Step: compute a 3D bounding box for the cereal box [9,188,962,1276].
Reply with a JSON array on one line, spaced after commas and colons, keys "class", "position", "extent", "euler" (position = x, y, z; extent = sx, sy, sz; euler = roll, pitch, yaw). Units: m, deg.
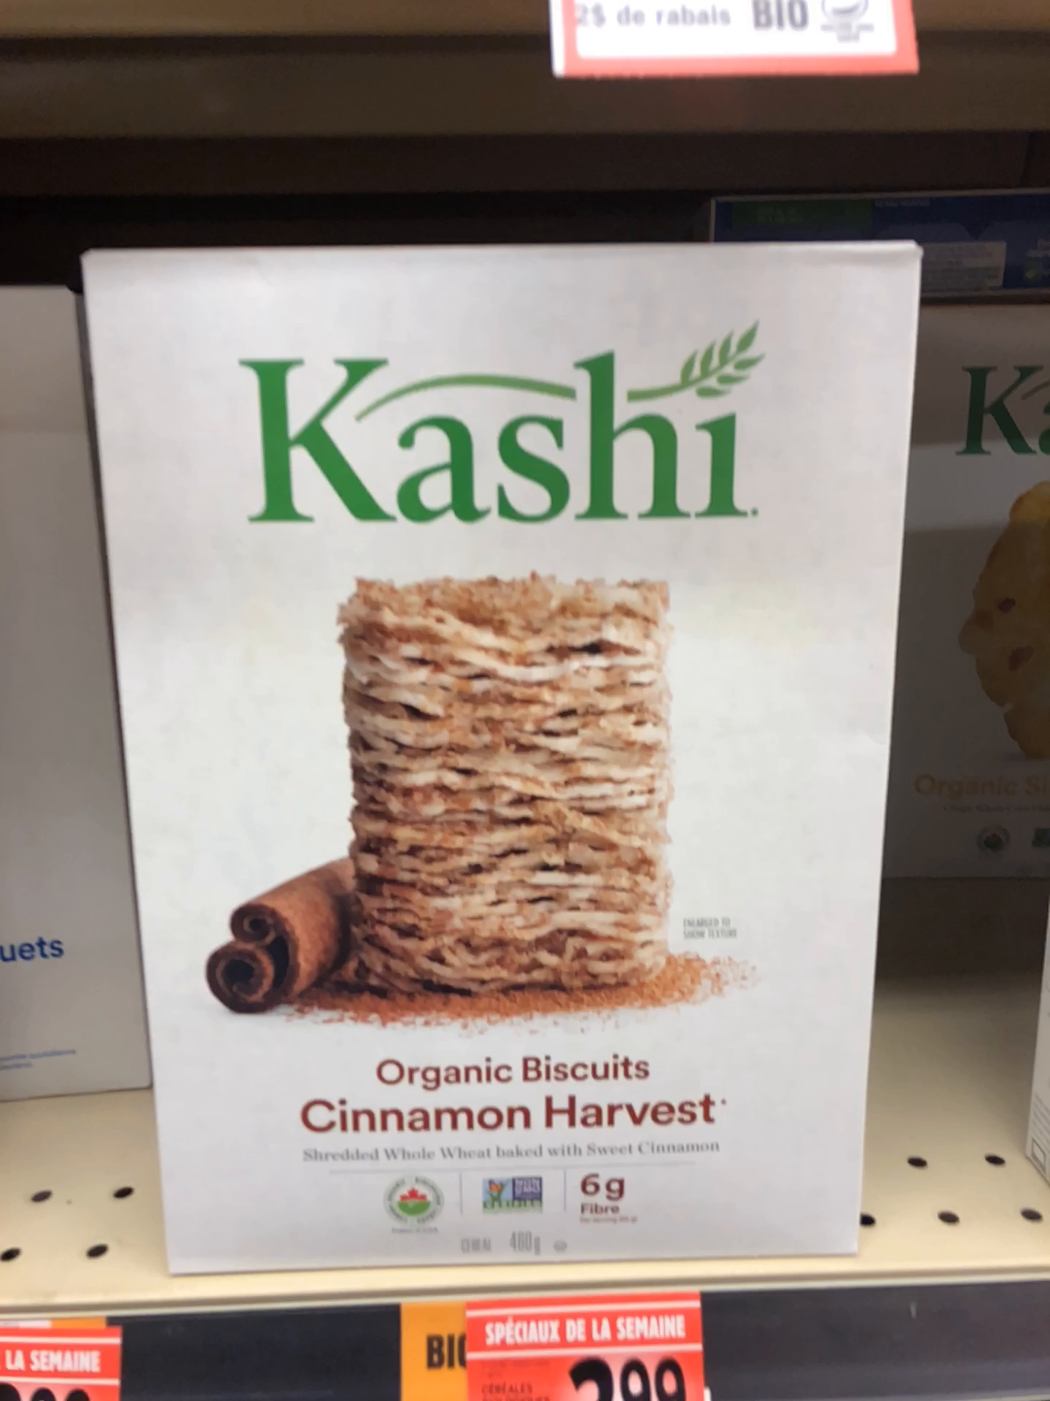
[{"class": "cereal box", "position": [-0.006, 0.014, 0.311], "extent": [0.200, 0.269, 0.070], "euler": [-1, 15, -1]}]
